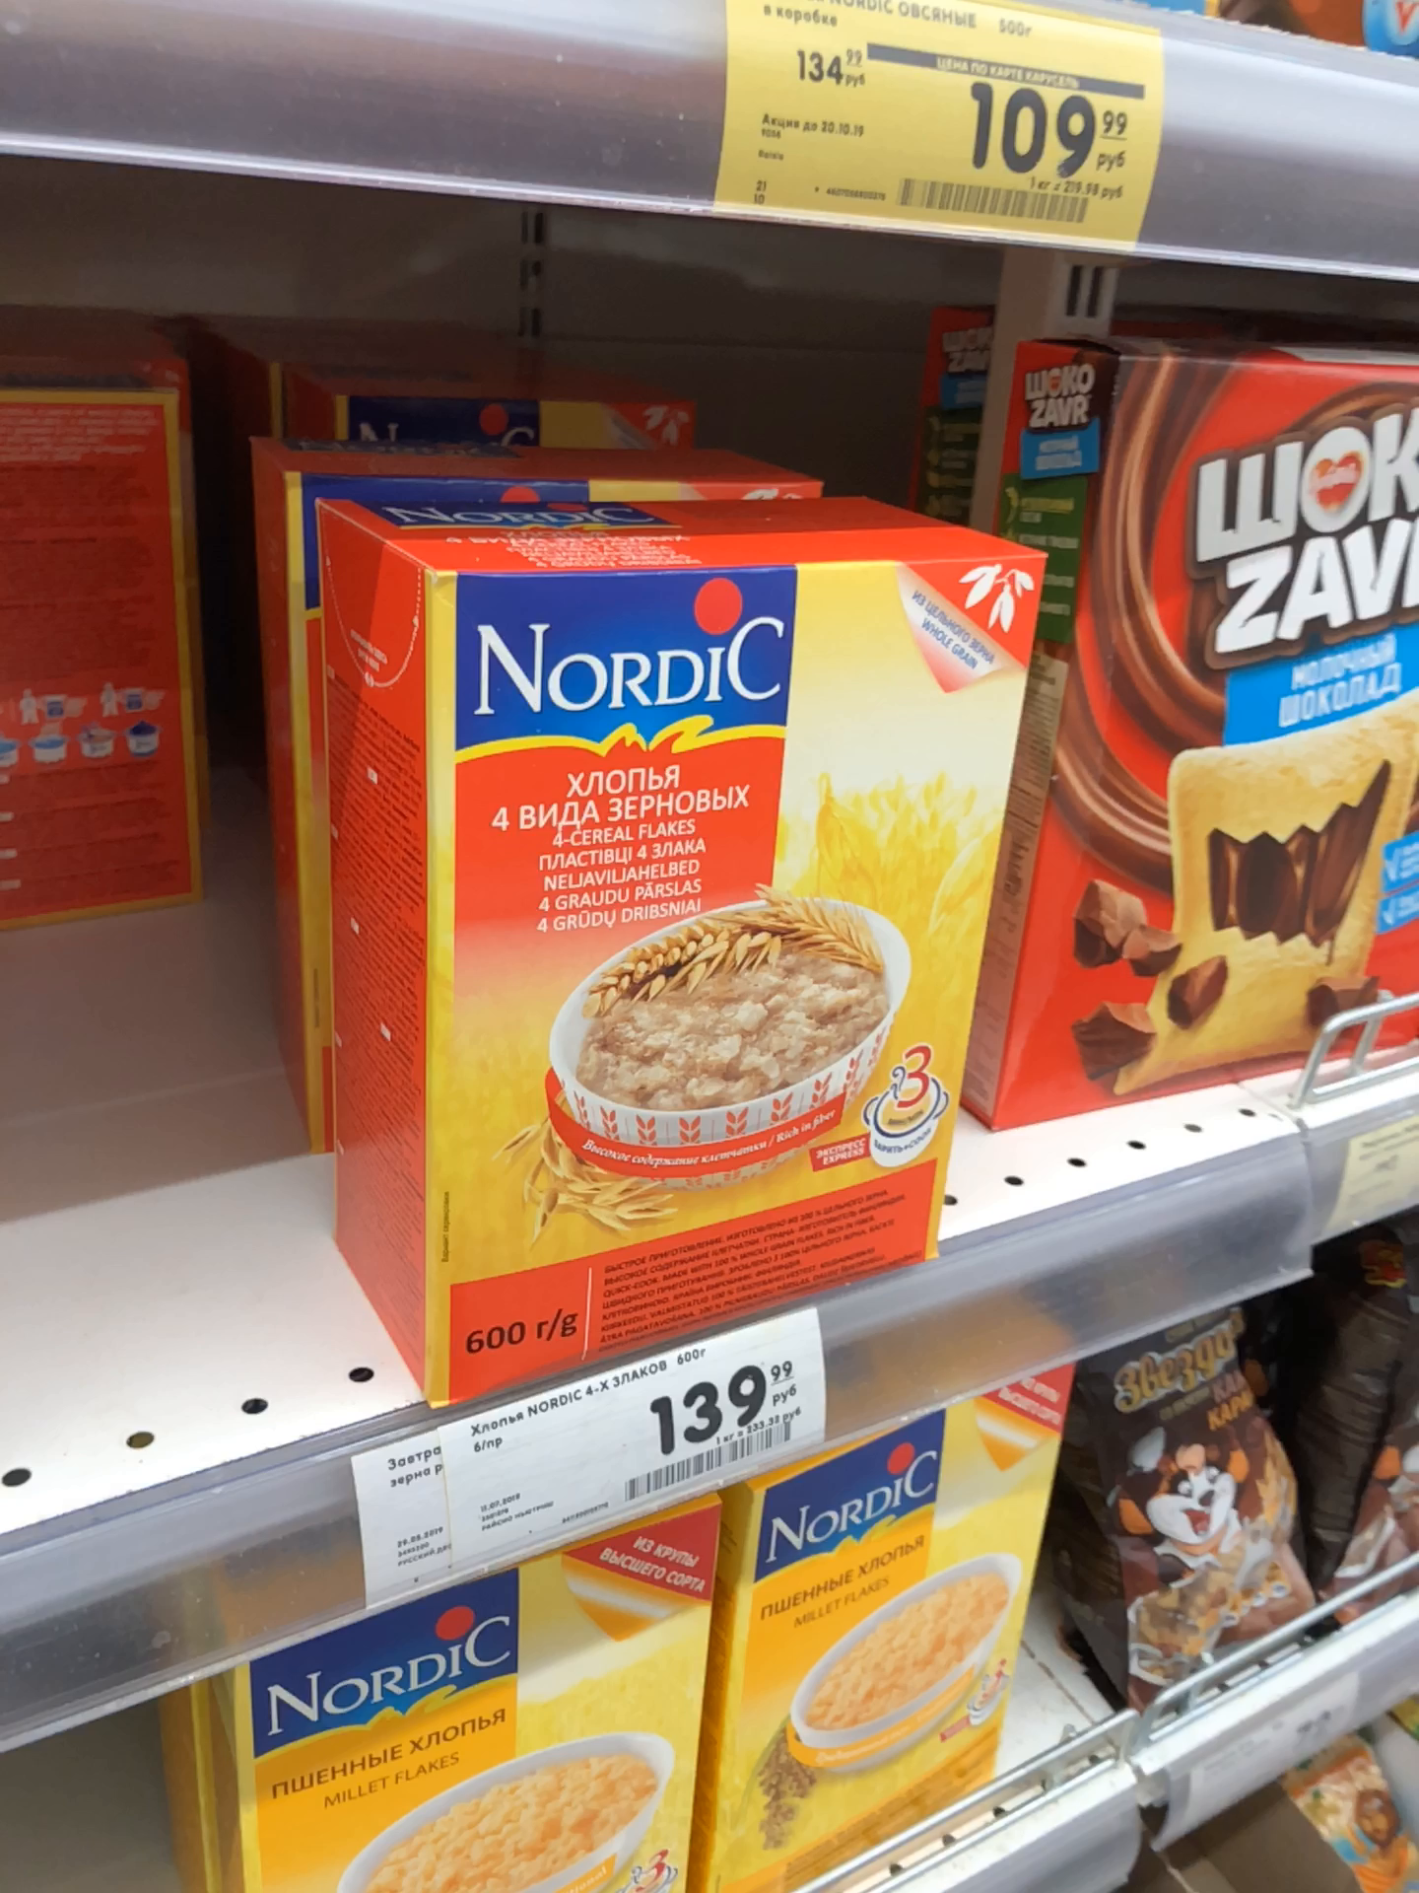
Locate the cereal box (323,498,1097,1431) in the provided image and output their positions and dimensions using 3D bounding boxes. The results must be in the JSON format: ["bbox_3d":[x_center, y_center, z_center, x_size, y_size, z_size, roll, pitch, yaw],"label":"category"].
[{"bbox_3d":[-0.005,-0.004,0.383,0.150,0.189,0.080,-9,27,-28],"label":"cereal box"}]
